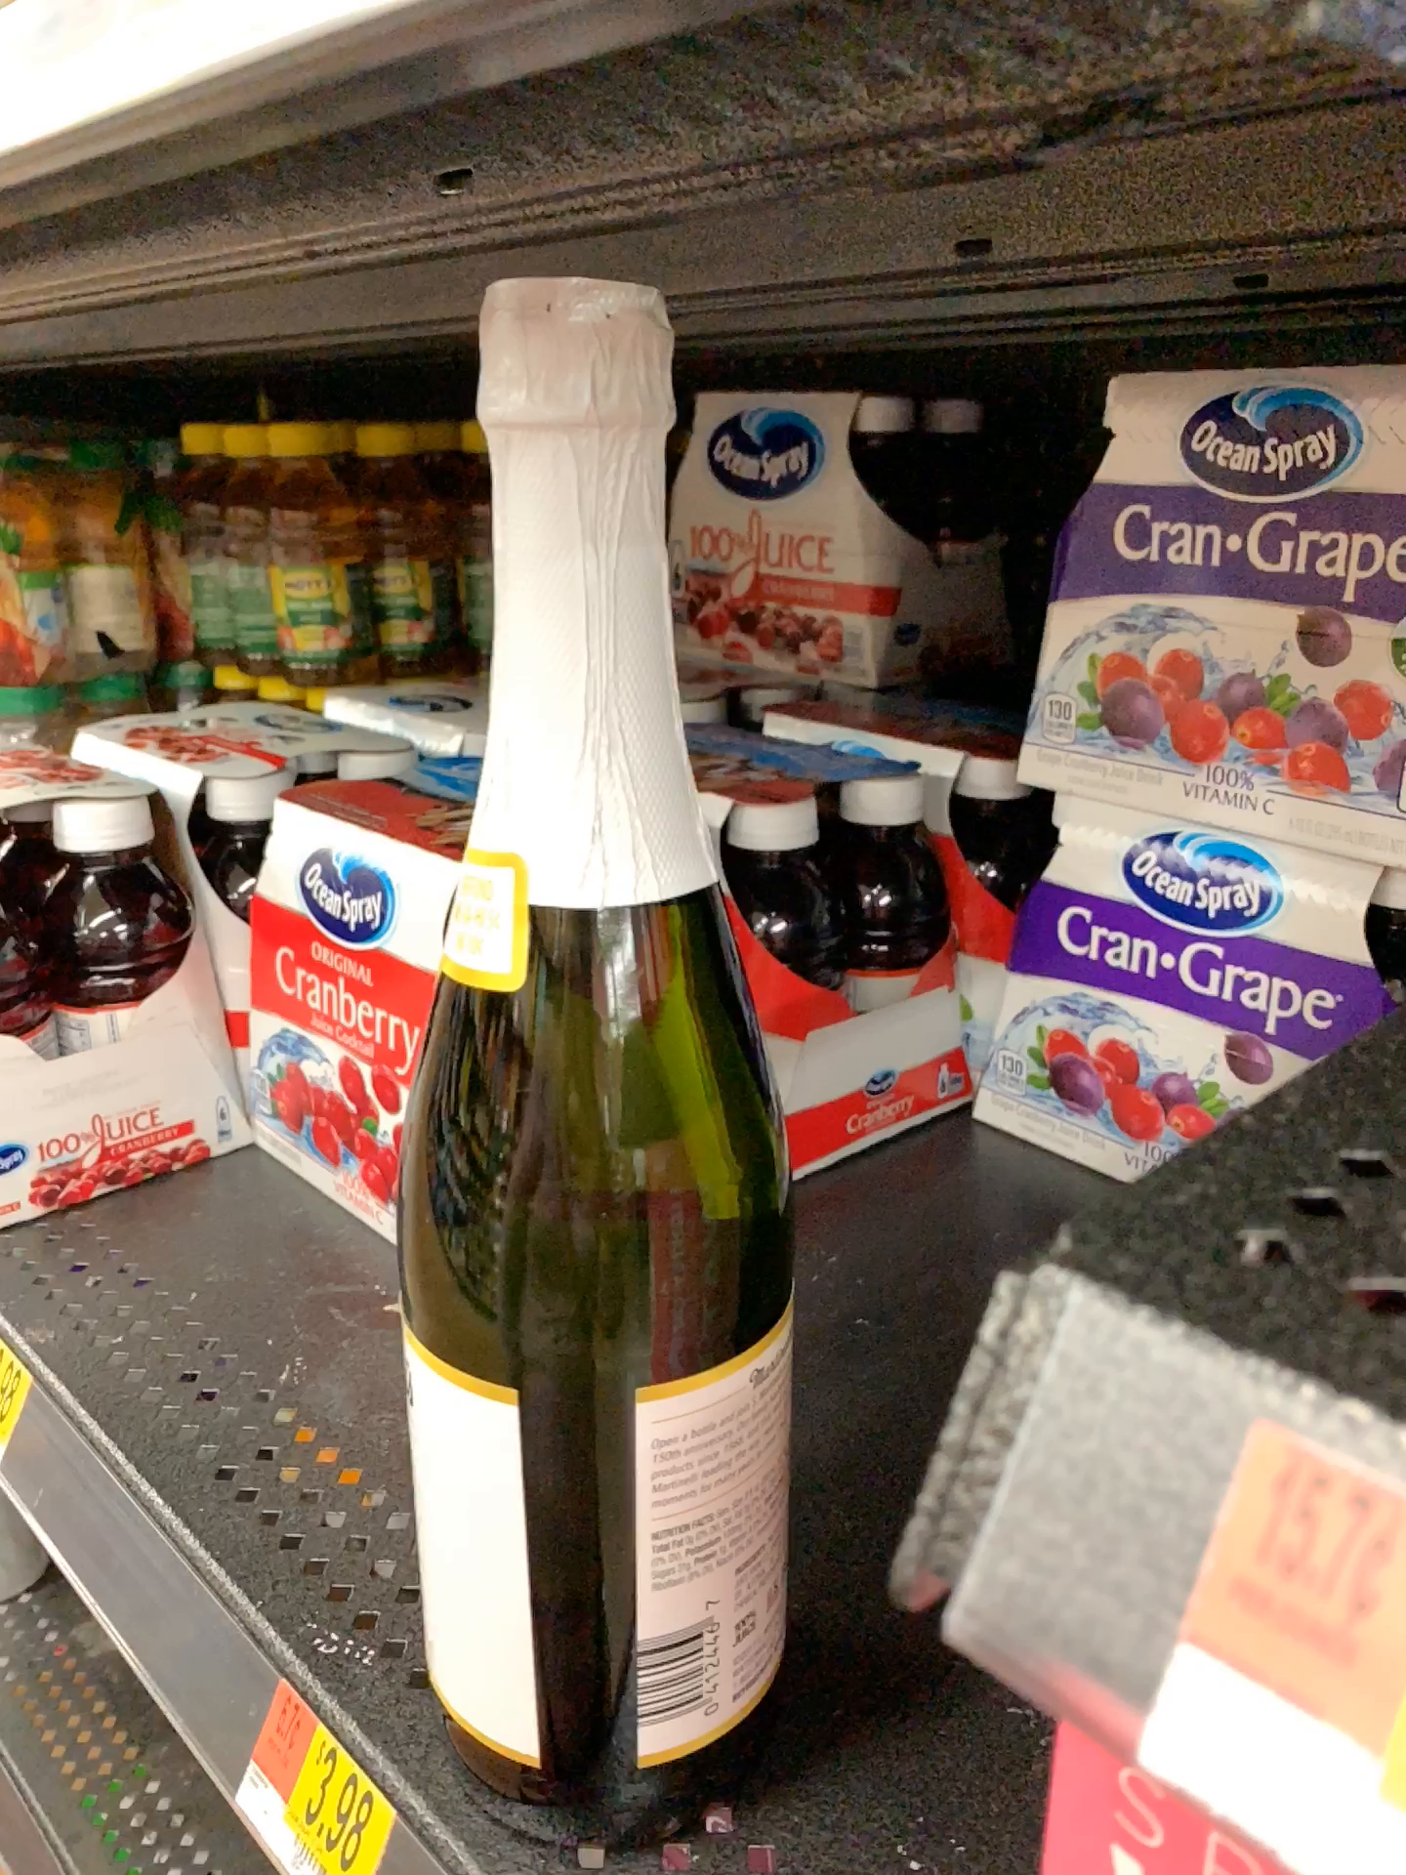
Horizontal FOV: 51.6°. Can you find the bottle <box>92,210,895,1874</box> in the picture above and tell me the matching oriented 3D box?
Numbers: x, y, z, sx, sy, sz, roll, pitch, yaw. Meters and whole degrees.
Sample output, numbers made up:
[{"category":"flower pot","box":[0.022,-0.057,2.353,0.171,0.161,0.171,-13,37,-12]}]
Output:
[{"category":"bottle","box":[-0.024,0.036,0.276,0.090,0.299,0.090,-1,20,0]}]
